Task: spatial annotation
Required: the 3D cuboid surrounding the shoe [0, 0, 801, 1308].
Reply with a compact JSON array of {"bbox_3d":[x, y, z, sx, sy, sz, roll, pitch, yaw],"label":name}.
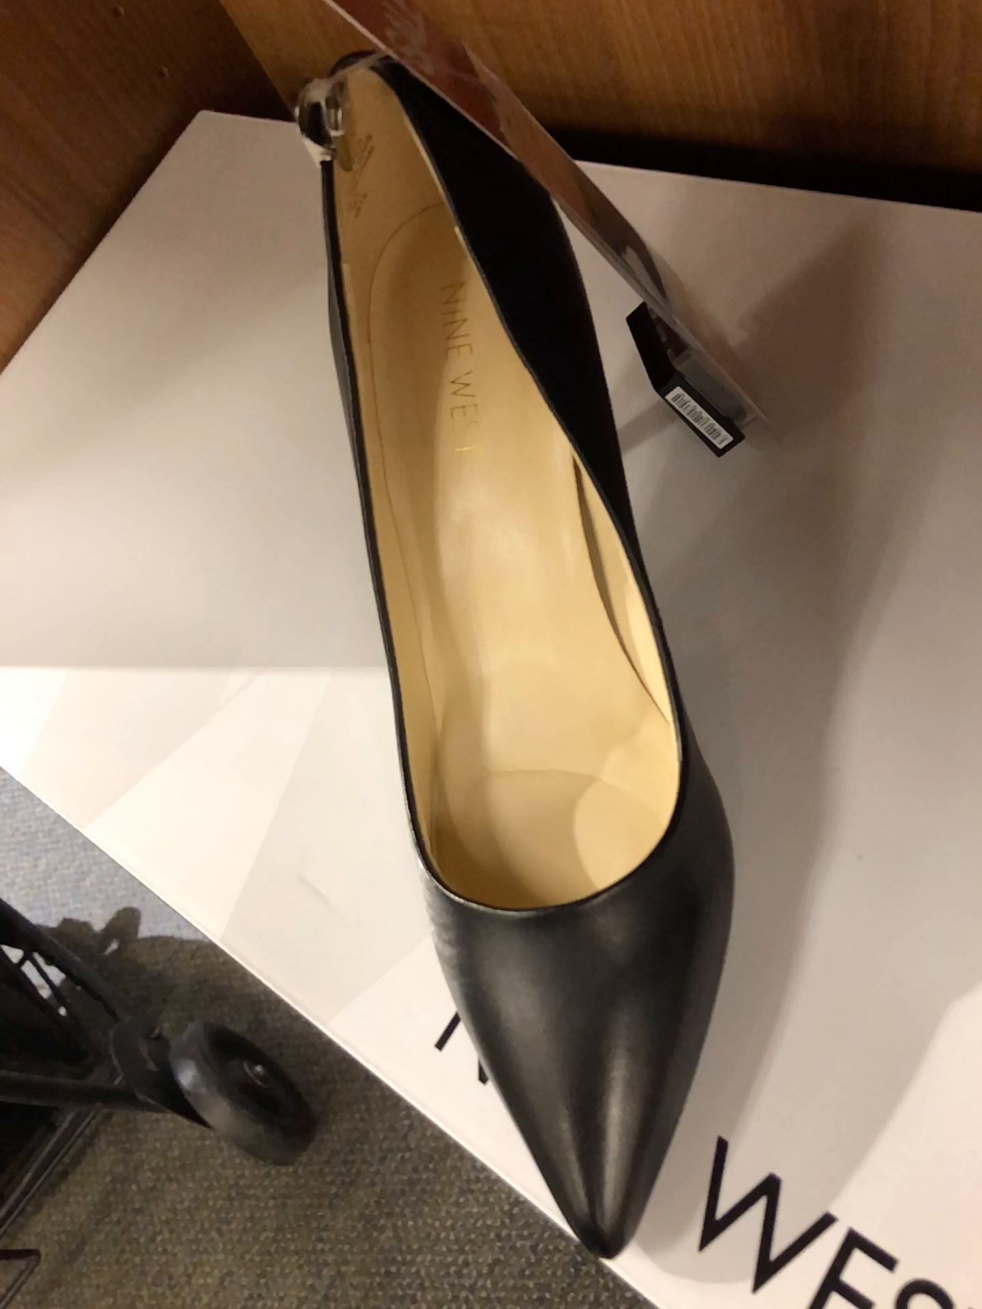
[{"bbox_3d":[-0.007,-0.002,0.252,0.096,0.160,0.255,-11,60,21],"label":"shoe"}]
